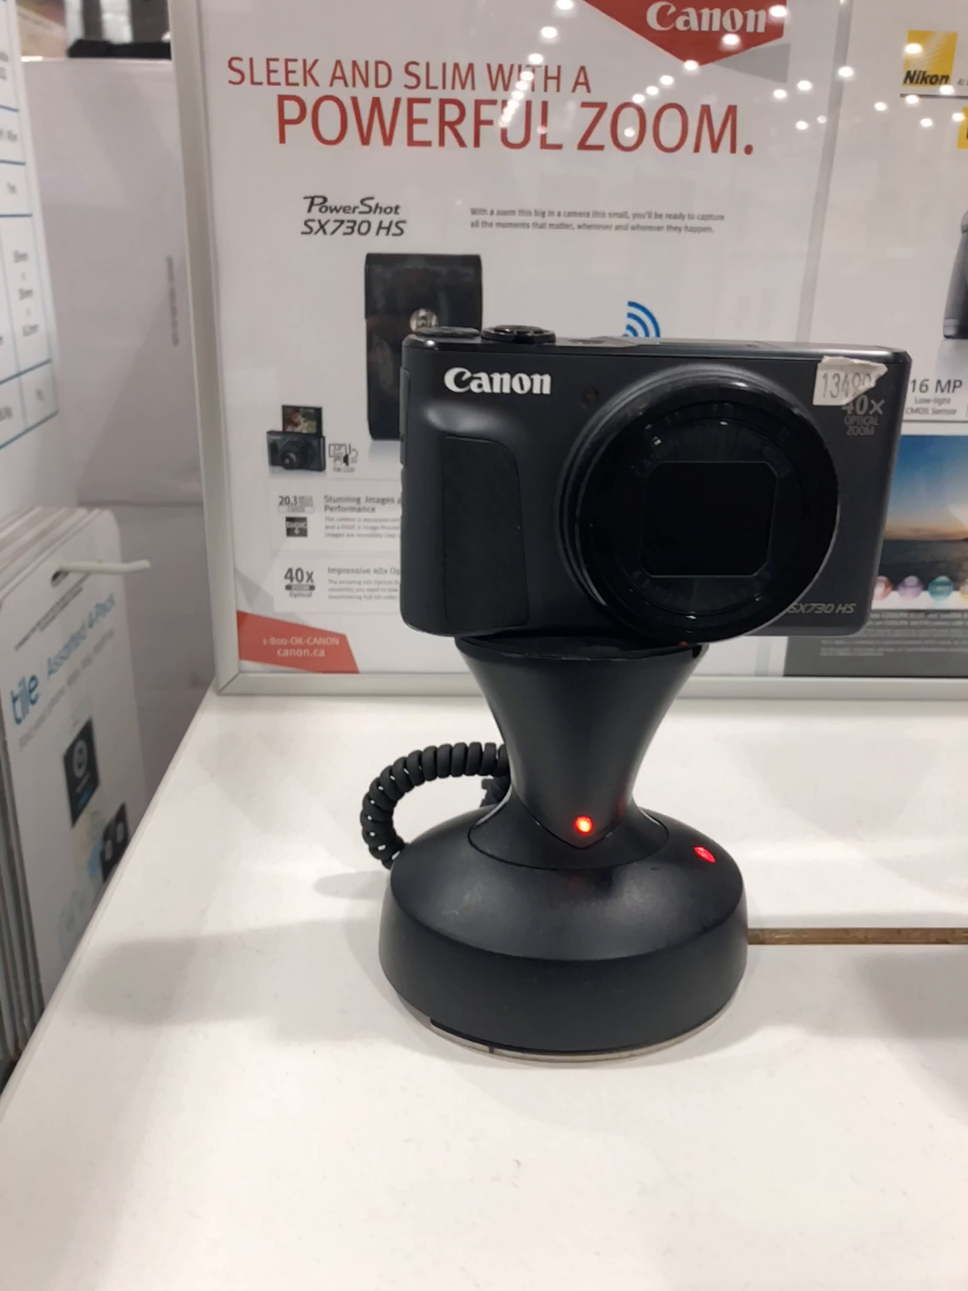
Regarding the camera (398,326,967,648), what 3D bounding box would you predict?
[{"bbox_3d":[0.037,-0.035,0.233,0.110,0.060,0.040,-1,21,-5],"label":"camera"}]
